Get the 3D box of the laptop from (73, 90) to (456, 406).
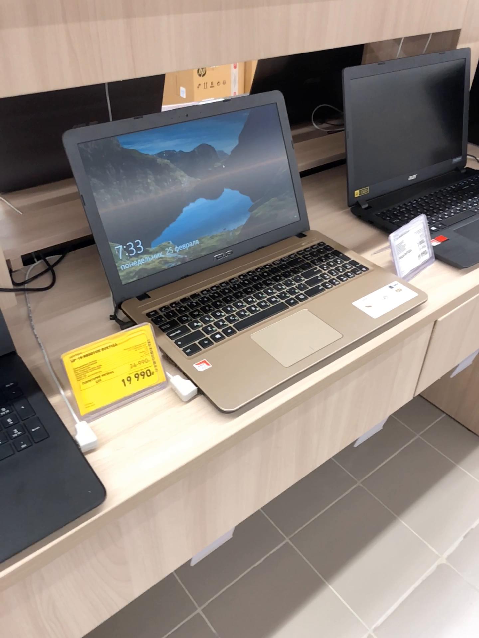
[{"bbox_3d":[0.028,-0.143,0.738,0.367,0.208,0.351,-25,45,-32],"label":"laptop"}]
